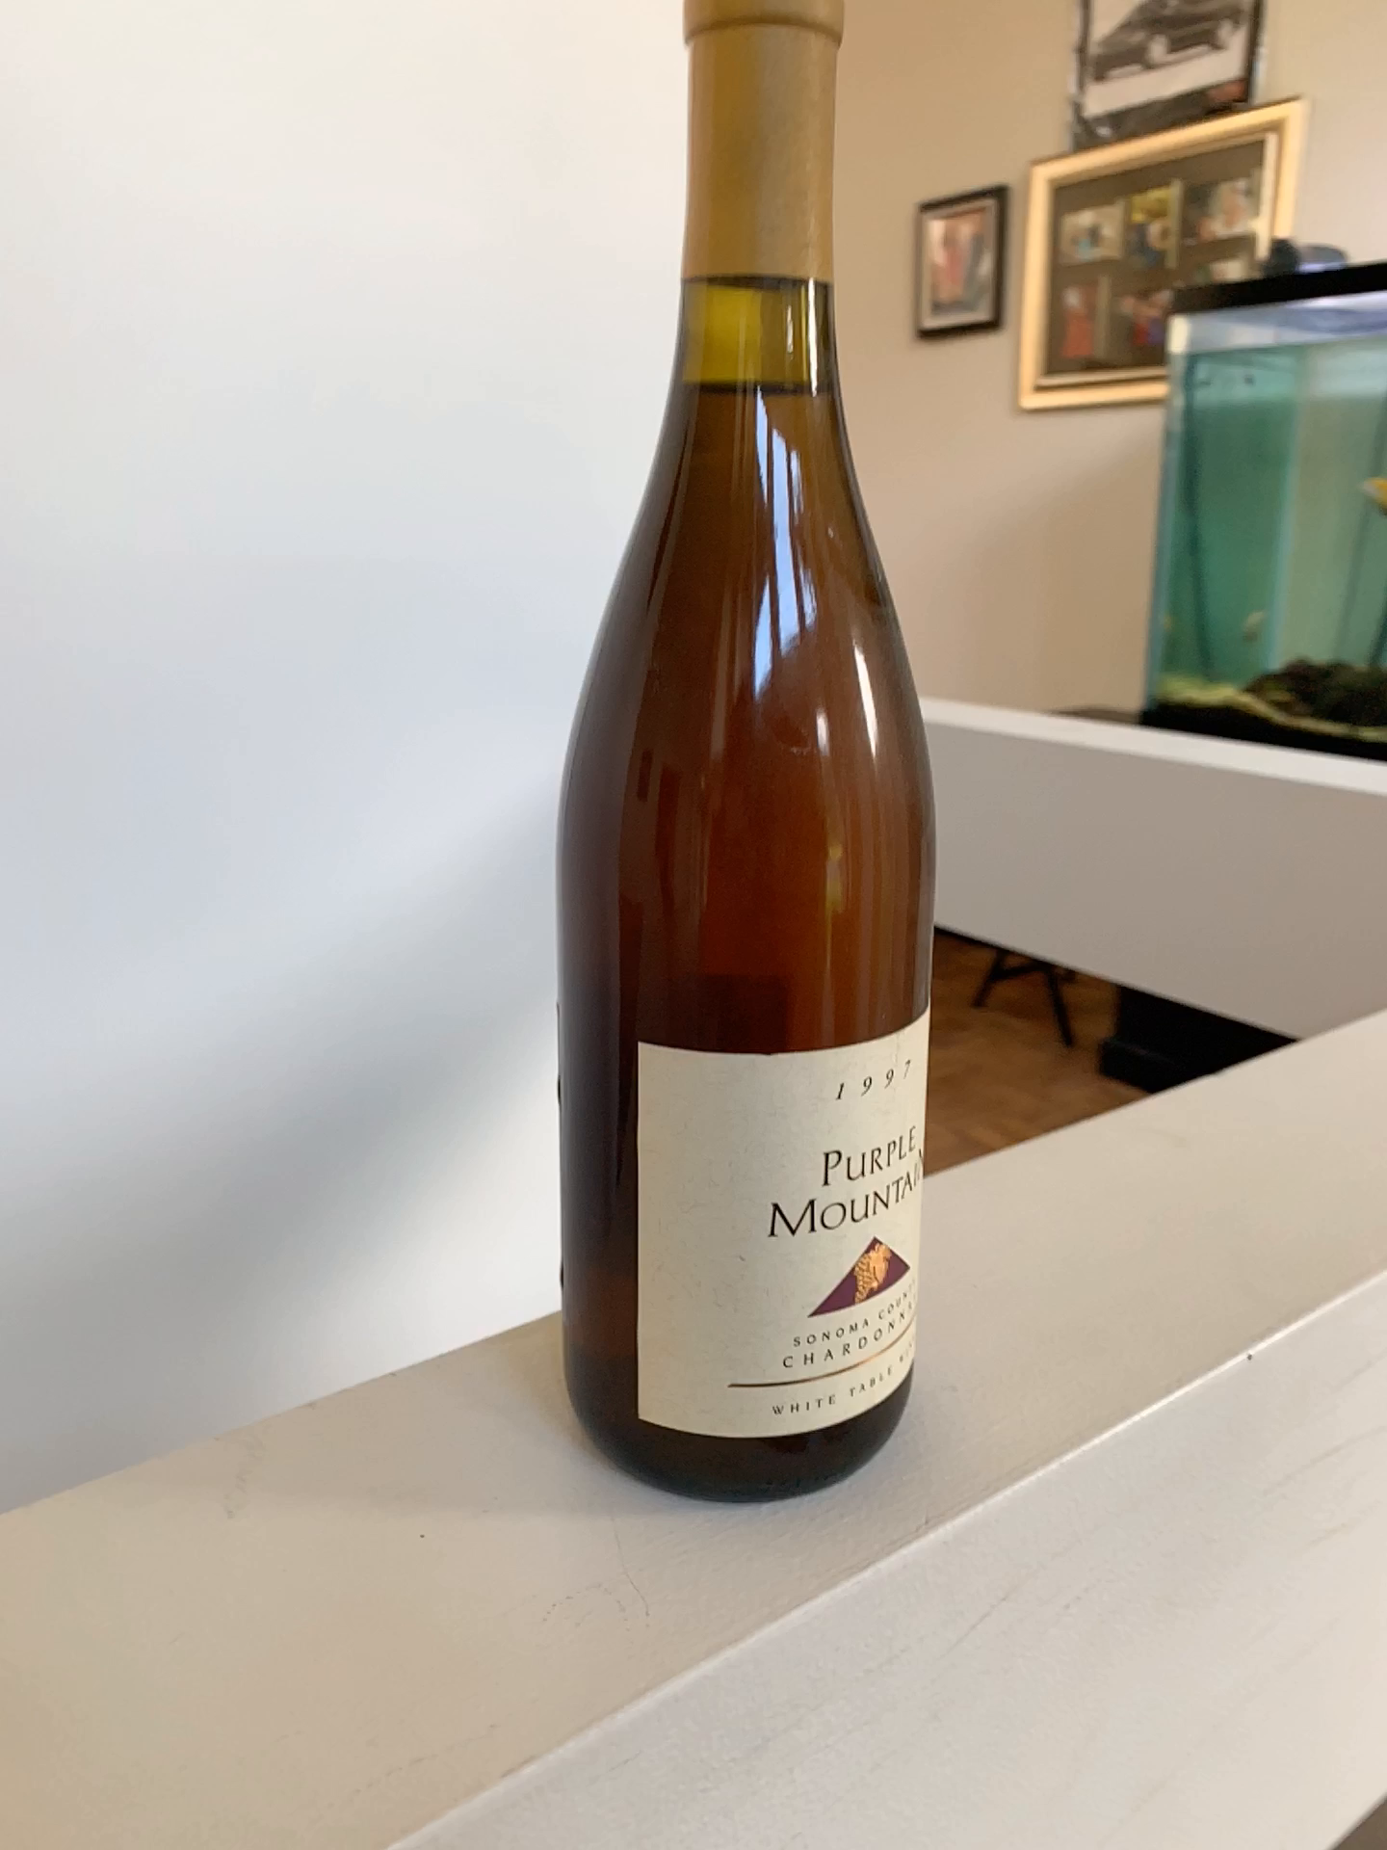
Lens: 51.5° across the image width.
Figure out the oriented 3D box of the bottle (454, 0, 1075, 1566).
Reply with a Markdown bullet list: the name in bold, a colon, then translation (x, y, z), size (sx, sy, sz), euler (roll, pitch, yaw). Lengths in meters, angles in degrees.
- **bottle**: translation (0.012, -0.036, 0.303), size (0.080, 0.309, 0.080), euler (0, 15, 0)
